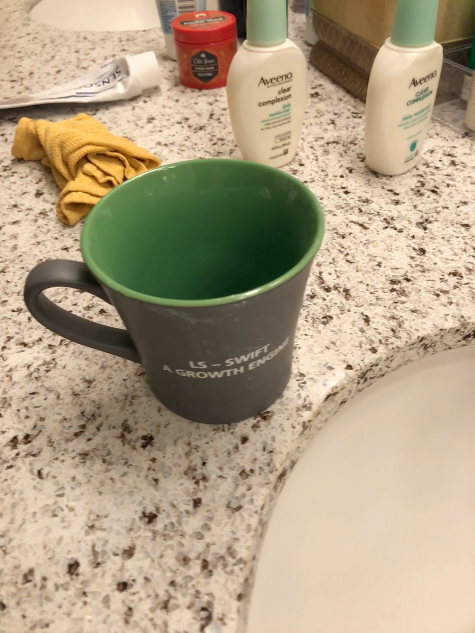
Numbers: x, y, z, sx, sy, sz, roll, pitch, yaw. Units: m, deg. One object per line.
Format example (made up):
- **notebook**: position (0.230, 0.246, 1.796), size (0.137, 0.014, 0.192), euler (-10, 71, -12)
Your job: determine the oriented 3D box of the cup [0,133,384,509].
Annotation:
- **cup**: position (-0.027, 0.001, 0.239), size (0.140, 0.109, 0.101), euler (-11, 45, -6)
